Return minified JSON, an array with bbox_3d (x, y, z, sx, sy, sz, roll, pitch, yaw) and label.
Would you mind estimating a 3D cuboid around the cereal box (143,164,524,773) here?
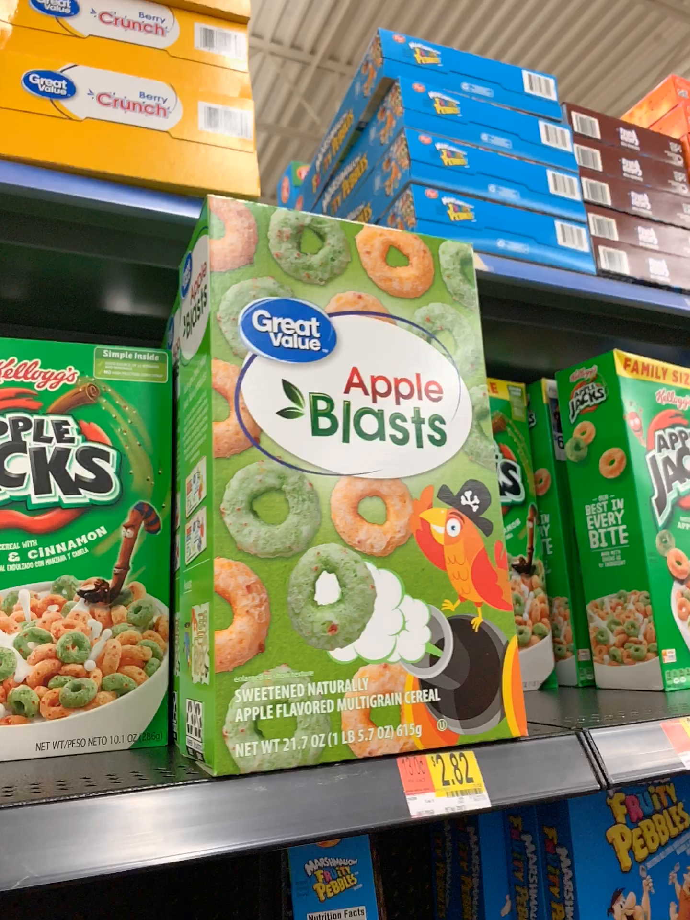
[{"bbox_3d":[-0.016,0.004,0.460,0.200,0.331,0.100,4,-16,-24],"label":"cereal box"}]
